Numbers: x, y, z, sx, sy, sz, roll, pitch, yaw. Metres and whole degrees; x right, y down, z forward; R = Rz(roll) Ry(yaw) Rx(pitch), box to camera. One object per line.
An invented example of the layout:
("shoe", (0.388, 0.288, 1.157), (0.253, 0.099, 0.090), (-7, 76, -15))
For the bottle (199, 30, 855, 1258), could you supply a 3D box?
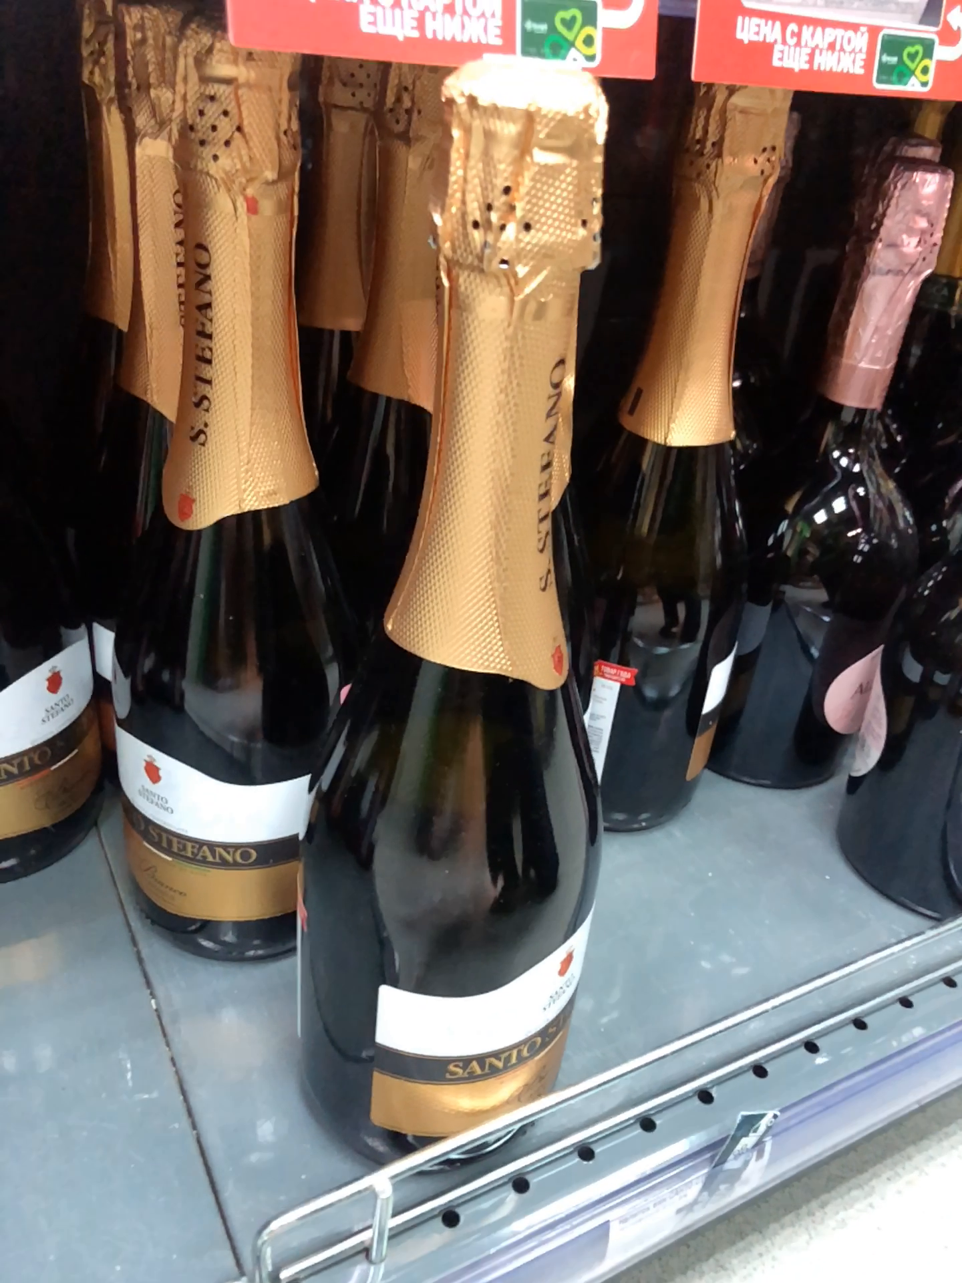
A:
("bottle", (-0.001, 0.013, 0.287), (0.090, 0.298, 0.100), (25, 35, 29))
